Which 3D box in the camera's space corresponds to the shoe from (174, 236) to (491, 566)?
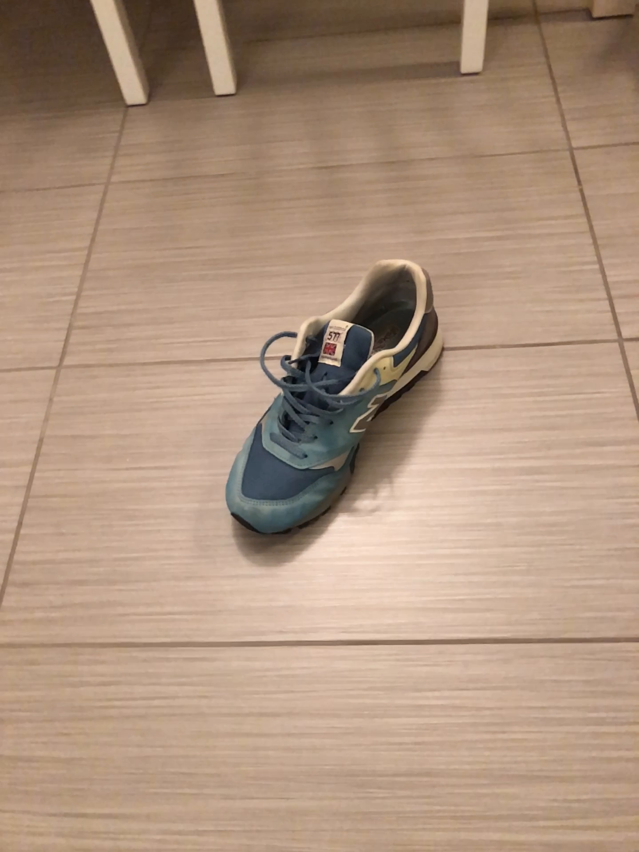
[{"bbox_3d":[0.022,-0.035,0.656,0.130,0.070,0.301,31,67,24],"label":"shoe"}]
